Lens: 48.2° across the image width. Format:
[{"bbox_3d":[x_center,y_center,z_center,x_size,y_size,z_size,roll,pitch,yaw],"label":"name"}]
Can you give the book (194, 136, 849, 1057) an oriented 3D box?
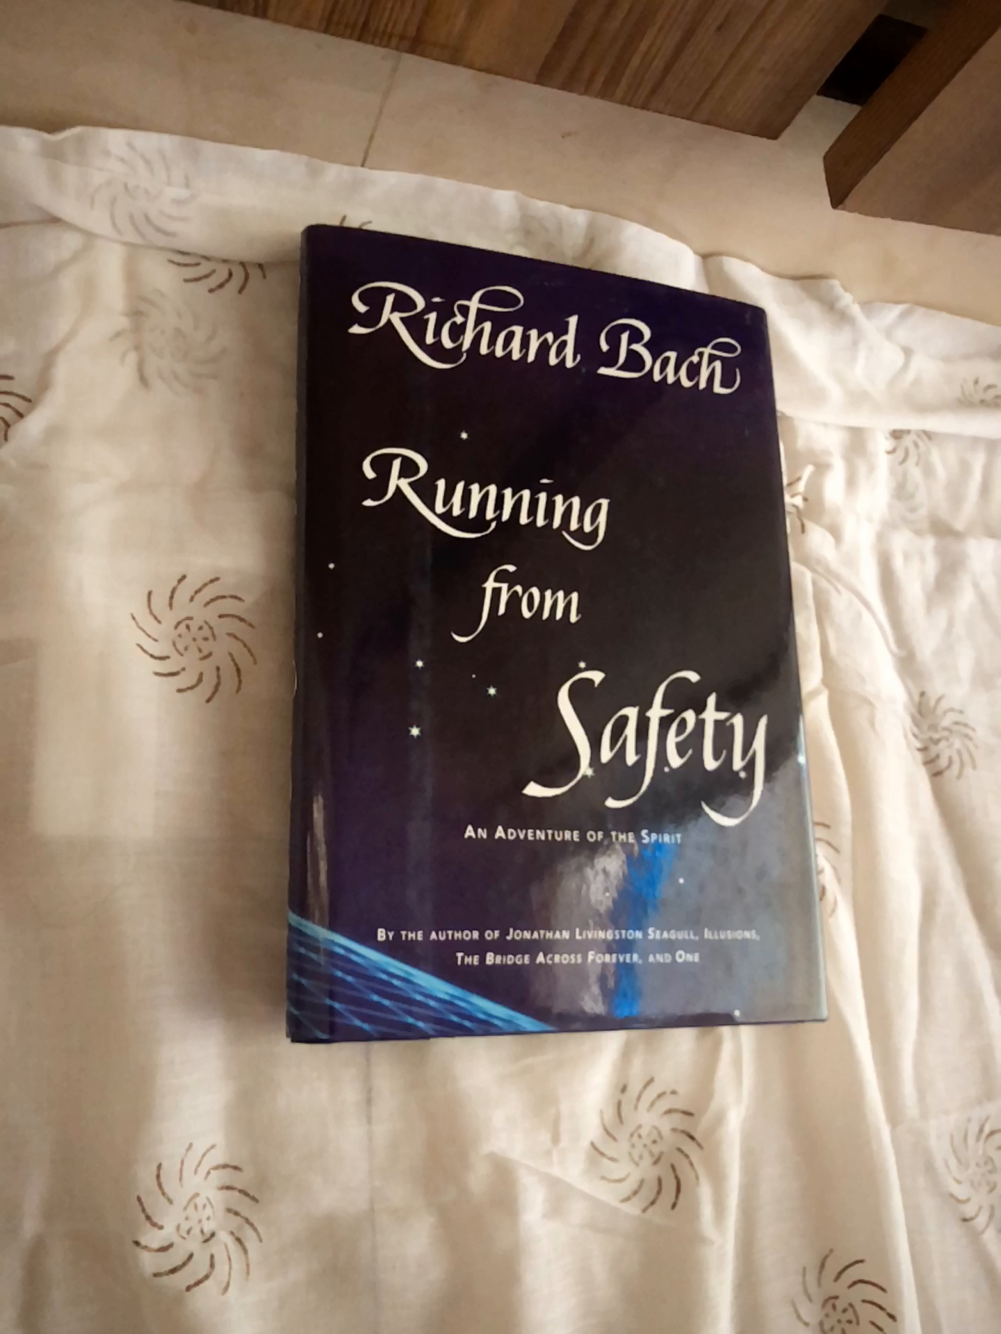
[{"bbox_3d":[0.009,-0.018,0.332,0.171,0.040,0.250,8,69,-23],"label":"book"}]
